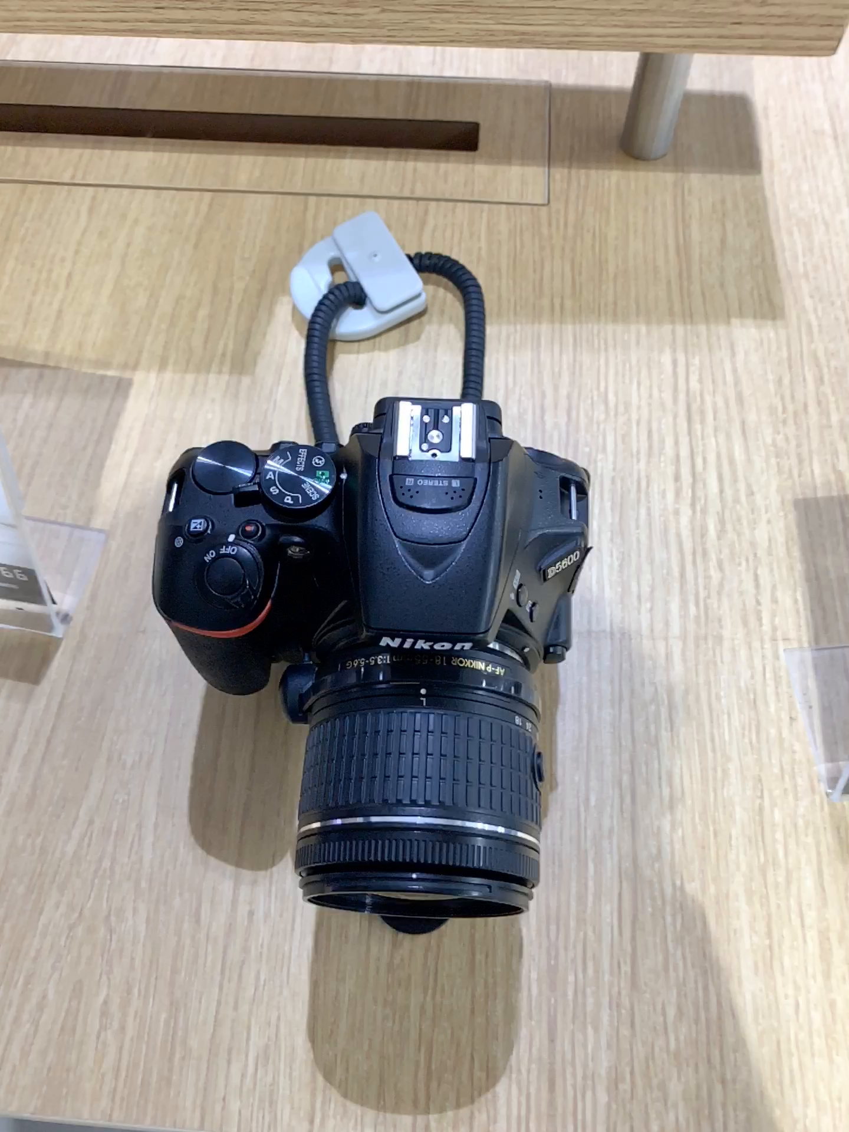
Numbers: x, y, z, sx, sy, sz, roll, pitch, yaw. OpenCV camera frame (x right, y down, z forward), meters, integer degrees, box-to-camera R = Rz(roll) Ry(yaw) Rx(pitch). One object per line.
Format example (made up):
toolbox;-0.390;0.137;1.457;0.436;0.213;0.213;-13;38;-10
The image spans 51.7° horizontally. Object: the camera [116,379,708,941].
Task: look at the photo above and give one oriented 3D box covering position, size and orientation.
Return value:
camera;-0.001;0.026;0.226;0.110;0.080;0.120;2;62;1
